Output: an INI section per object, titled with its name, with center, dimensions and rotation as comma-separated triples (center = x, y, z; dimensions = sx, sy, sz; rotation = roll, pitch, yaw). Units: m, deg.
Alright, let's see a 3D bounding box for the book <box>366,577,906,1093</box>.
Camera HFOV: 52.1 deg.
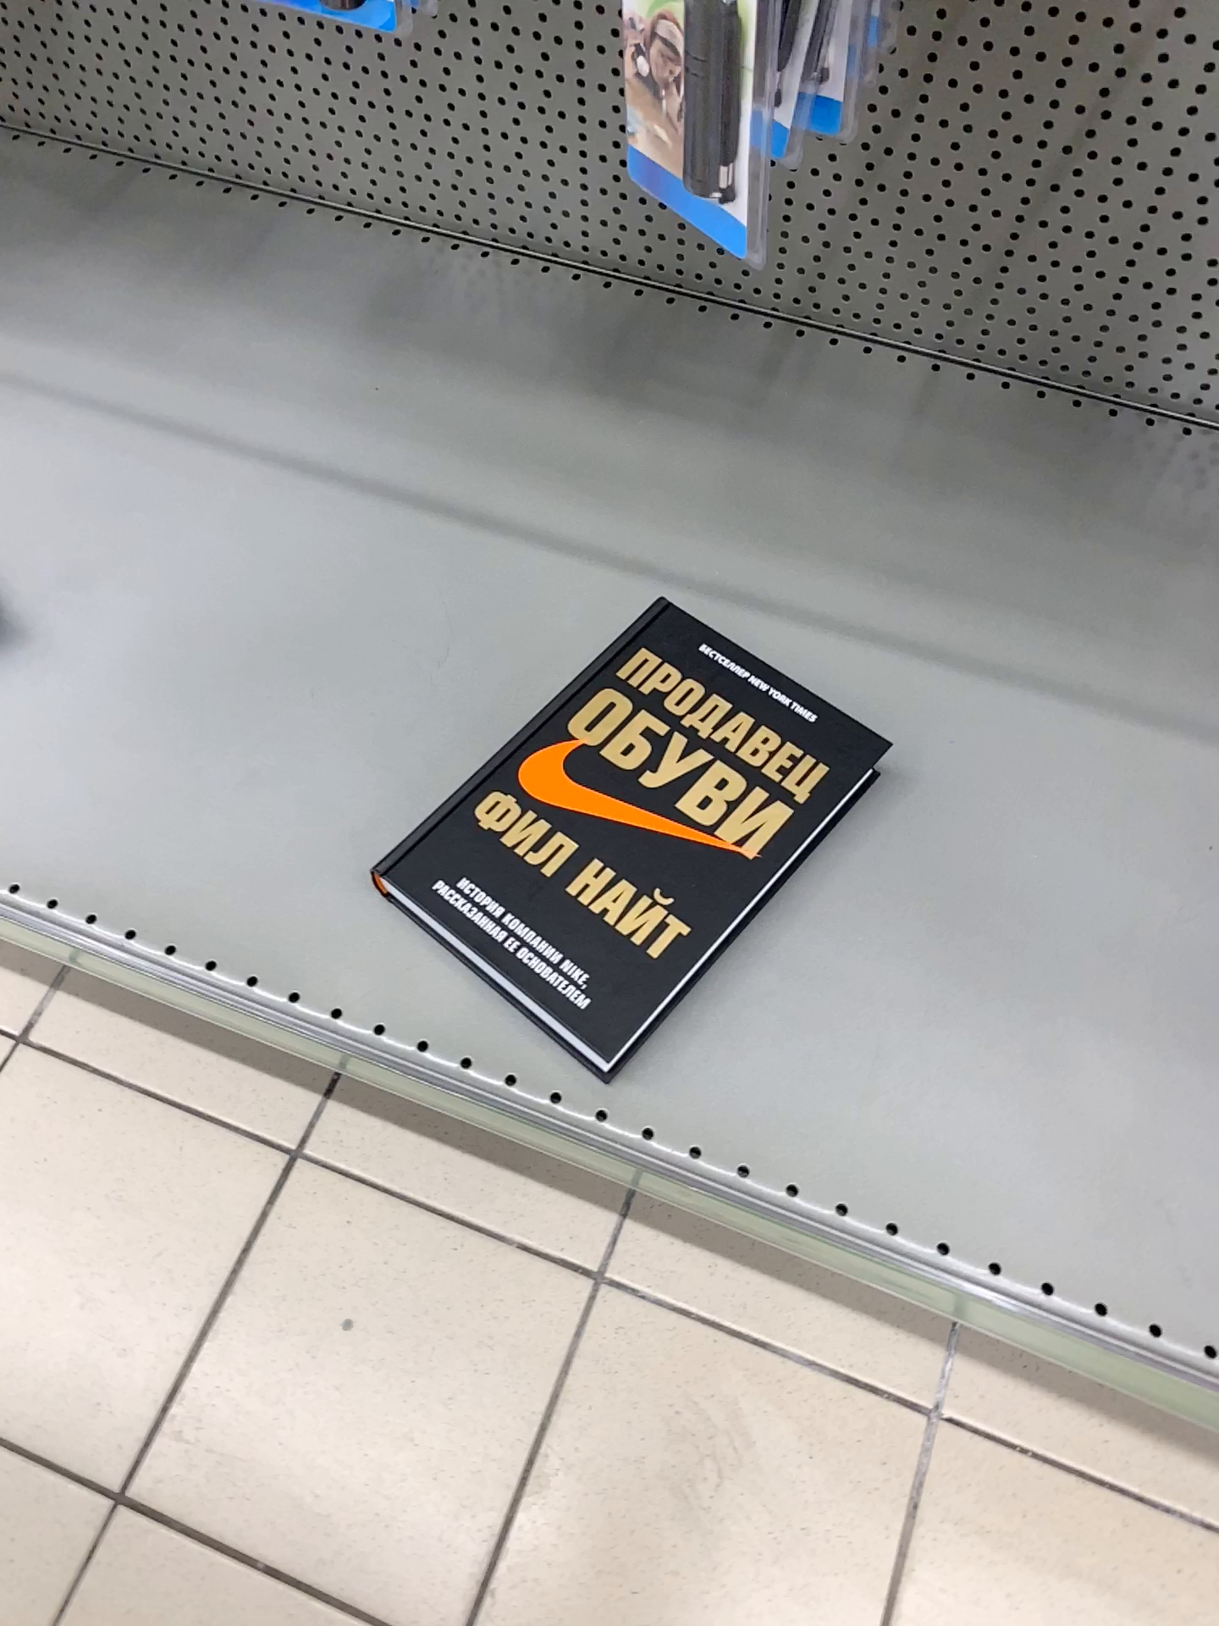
[book]
center = 0.018, 0.001, 0.687
dimensions = 0.166, 0.049, 0.250
rotation = 37, 67, 19
